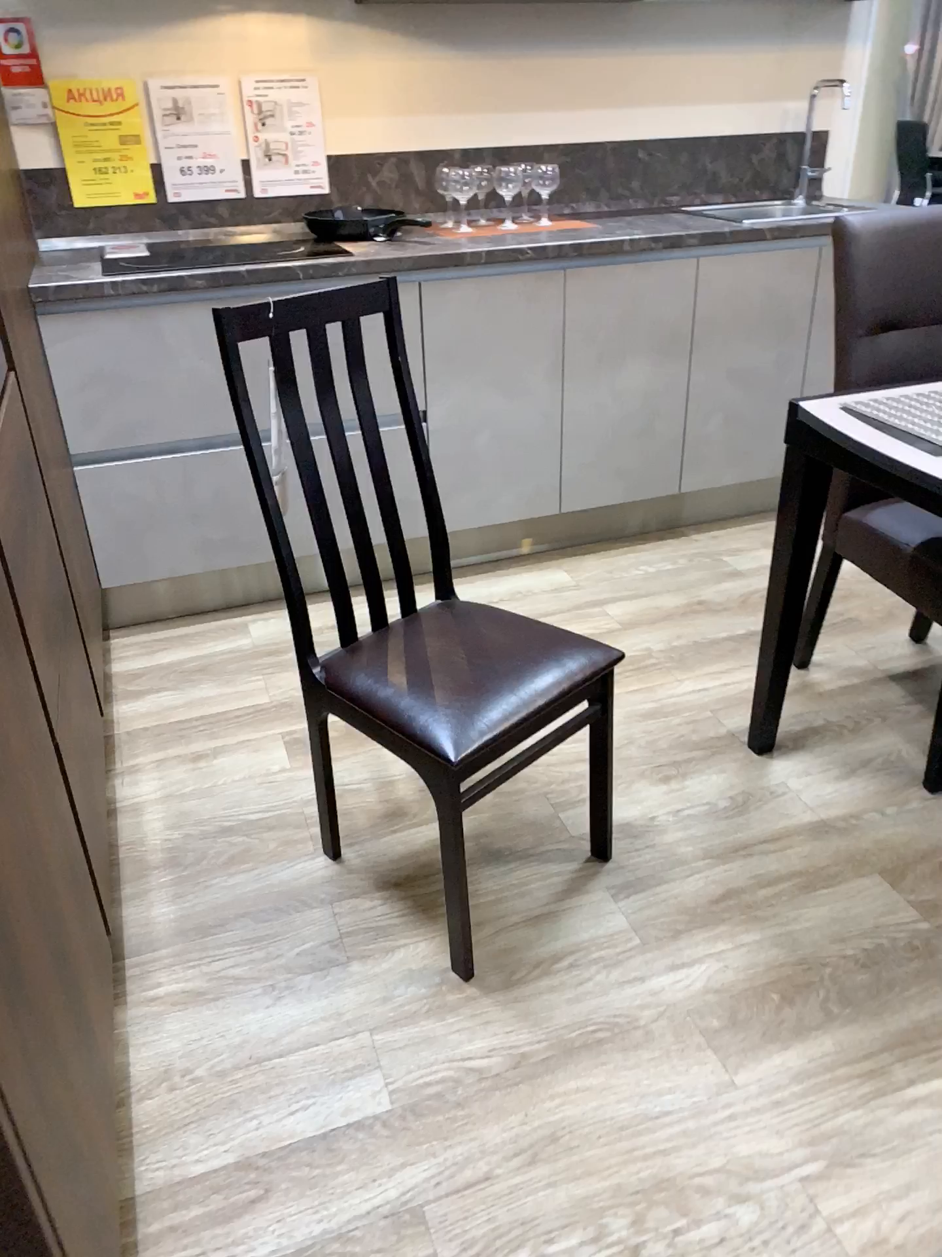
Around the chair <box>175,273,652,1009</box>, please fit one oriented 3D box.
[{"bbox_3d":[-0.069,-0.001,1.594,0.521,1.014,0.432,23,37,38],"label":"chair"}]
